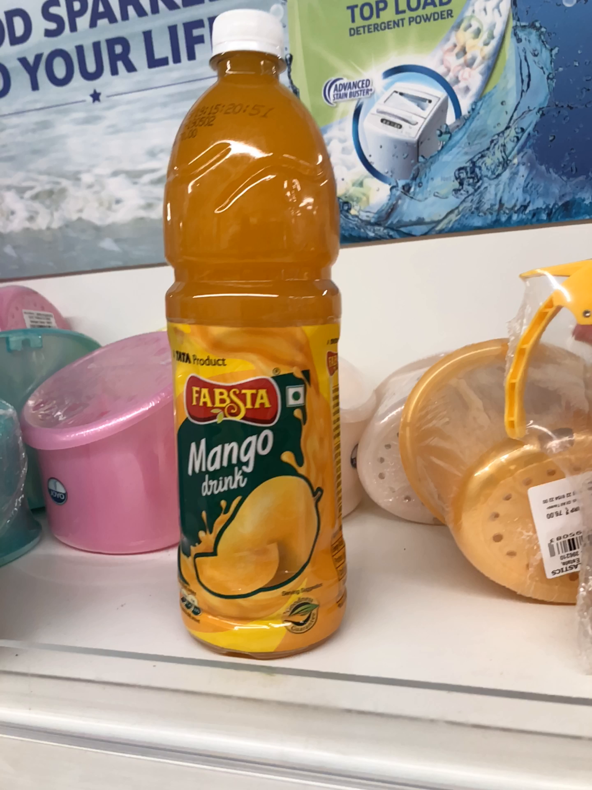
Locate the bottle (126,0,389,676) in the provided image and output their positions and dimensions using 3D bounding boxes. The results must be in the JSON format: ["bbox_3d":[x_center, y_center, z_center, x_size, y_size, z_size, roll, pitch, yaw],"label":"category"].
[{"bbox_3d":[-0.011,-0.023,0.294,0.090,0.259,0.080,2,10,13],"label":"bottle"}]
